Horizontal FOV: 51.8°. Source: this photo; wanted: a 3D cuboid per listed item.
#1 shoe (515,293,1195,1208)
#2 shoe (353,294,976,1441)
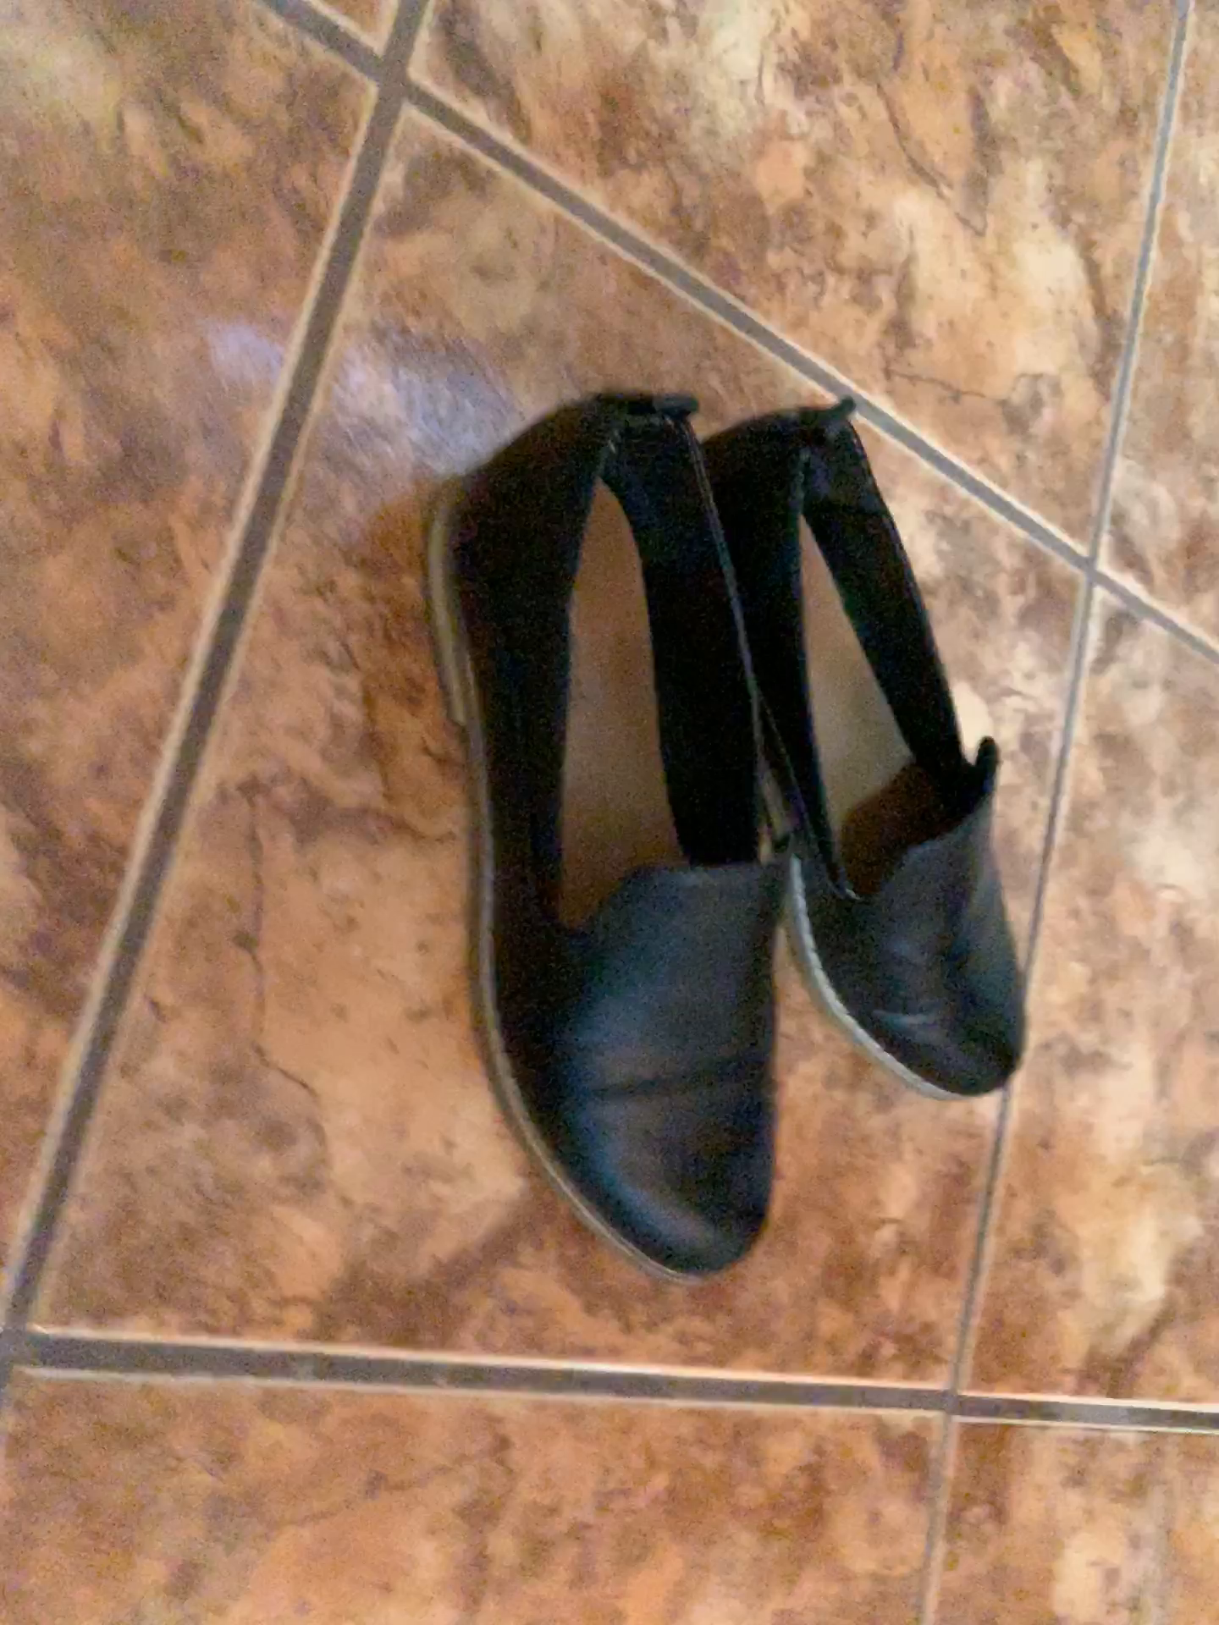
[{"bbox_3d":[0.084,-0.010,0.386,0.088,0.070,0.256,-41,110,-30],"label":"shoe"},{"bbox_3d":[0.016,0.010,0.324,0.086,0.070,0.256,-16,97,-35],"label":"shoe"}]
